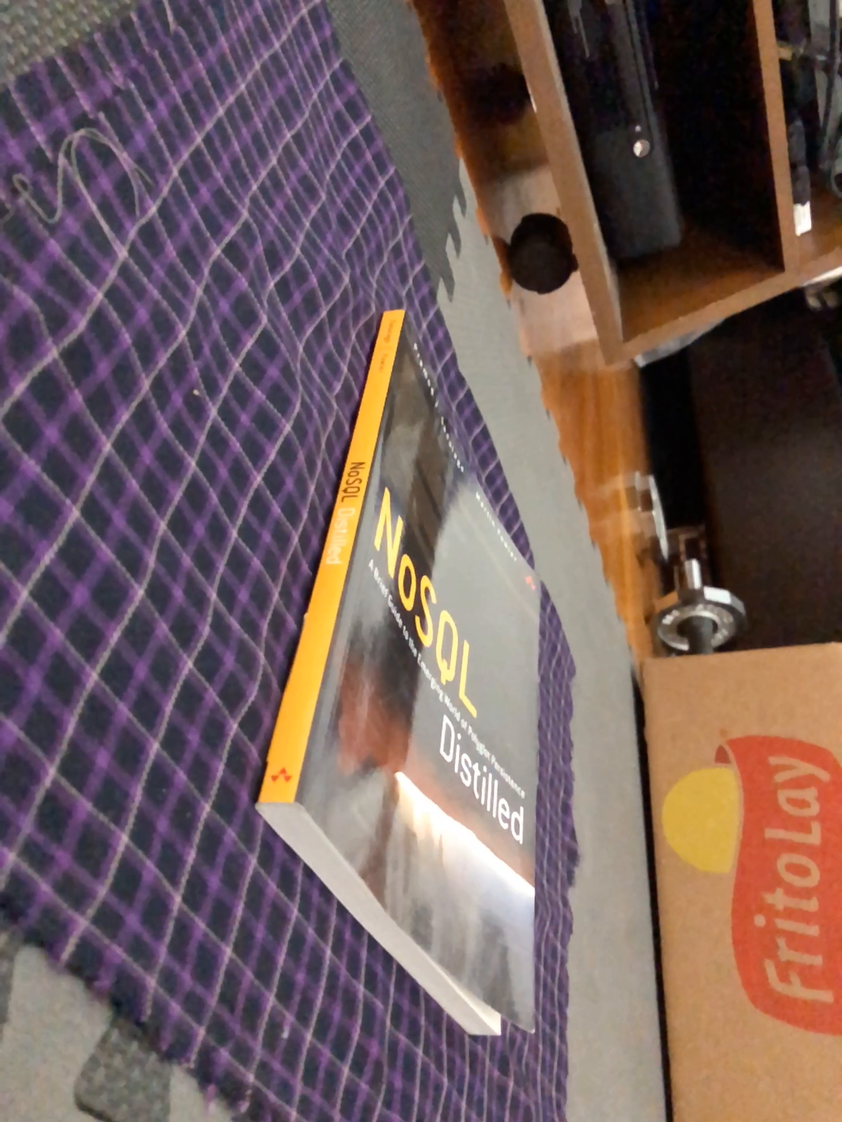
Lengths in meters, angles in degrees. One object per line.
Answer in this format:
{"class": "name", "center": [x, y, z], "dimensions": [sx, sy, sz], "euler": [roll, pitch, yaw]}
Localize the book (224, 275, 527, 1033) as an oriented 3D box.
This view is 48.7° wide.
{"class": "book", "center": [0.005, 0.030, 0.387], "dimensions": [0.251, 0.020, 0.190], "euler": [-83, 153, -43]}
